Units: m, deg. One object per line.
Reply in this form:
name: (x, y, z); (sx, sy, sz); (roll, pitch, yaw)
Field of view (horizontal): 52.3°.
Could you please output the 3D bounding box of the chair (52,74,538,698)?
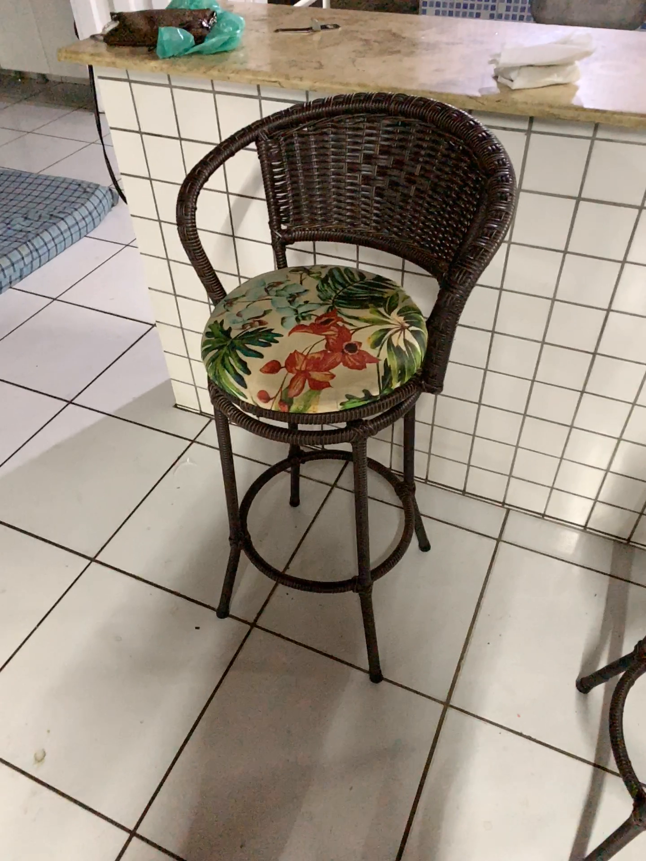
chair: (0.010, -0.047, 1.252); (0.500, 0.975, 0.532); (16, 46, 18)
